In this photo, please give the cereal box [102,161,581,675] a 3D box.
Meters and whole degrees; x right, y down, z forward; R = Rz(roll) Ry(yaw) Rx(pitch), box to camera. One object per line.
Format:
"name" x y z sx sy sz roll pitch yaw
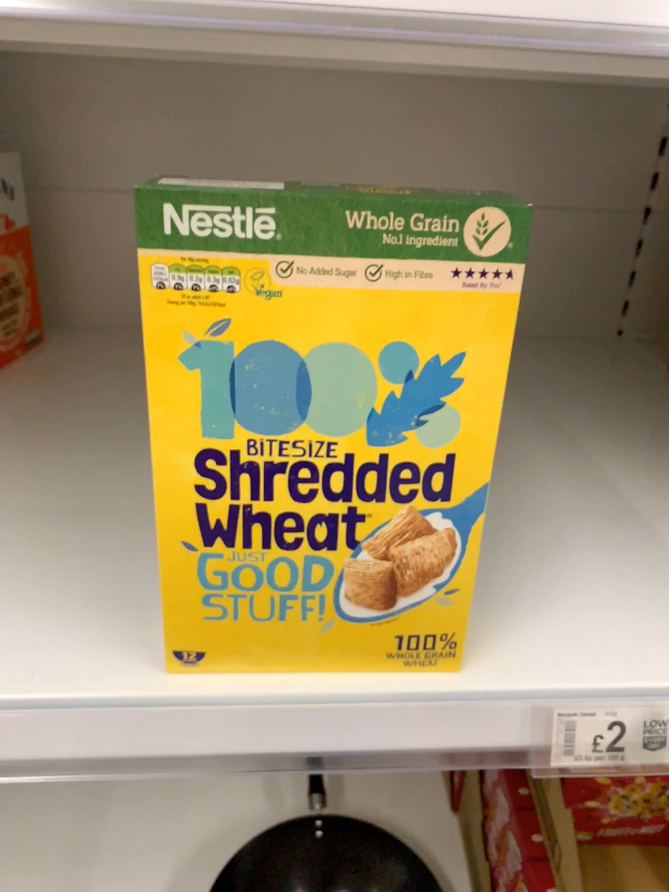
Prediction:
"cereal box" -0.003 -0.004 0.393 0.210 0.278 0.071 1 24 -4
